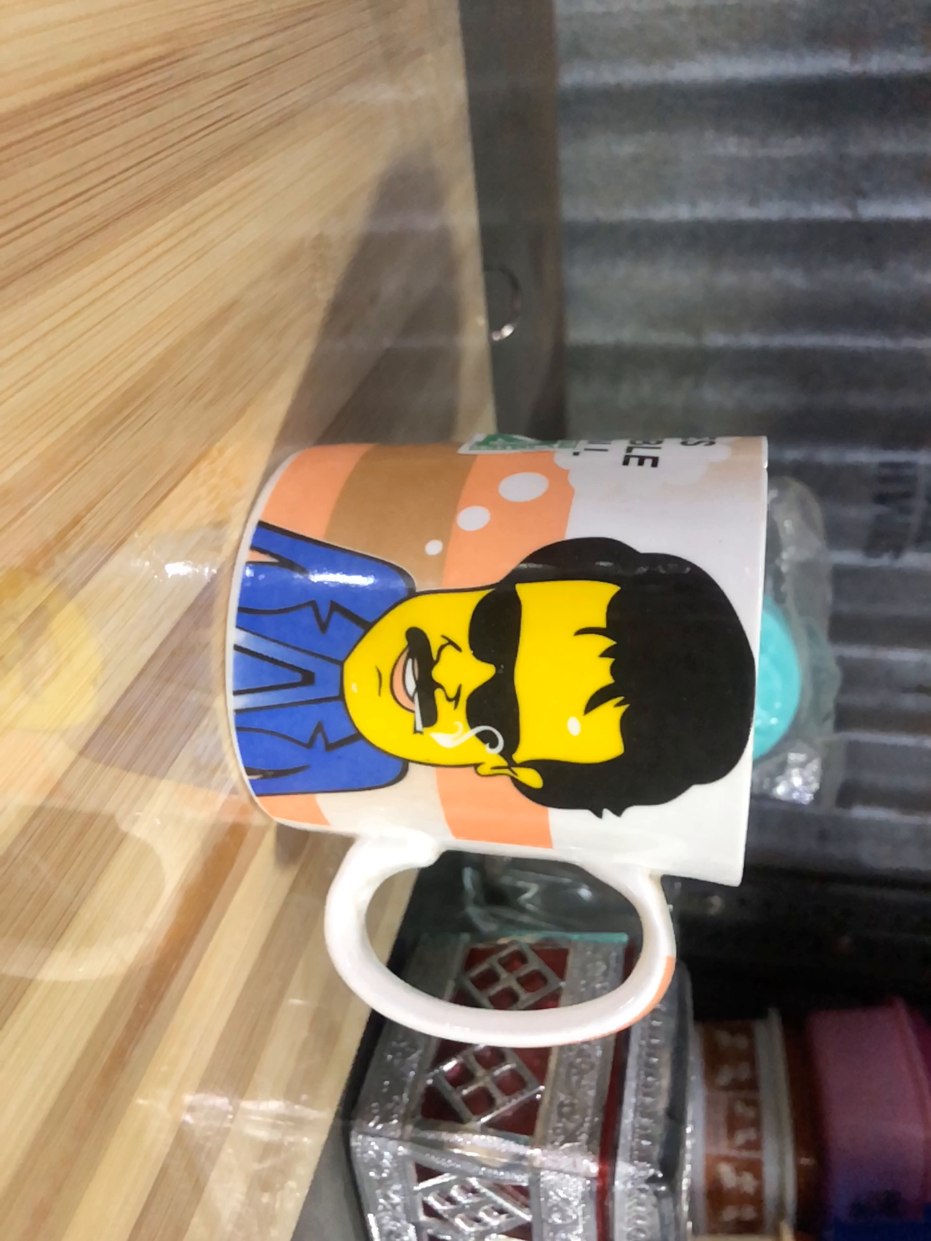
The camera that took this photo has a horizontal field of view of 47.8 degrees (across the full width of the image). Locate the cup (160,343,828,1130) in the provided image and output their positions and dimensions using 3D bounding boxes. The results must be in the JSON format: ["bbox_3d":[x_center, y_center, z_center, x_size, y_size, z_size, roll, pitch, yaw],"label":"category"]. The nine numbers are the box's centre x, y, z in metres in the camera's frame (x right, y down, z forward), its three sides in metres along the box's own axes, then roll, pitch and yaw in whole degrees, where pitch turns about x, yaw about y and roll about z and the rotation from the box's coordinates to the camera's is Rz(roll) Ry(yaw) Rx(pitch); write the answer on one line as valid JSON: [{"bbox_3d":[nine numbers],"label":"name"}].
[{"bbox_3d":[0.012,0.018,0.188,0.070,0.090,0.110,51,44,-73],"label":"cup"}]
